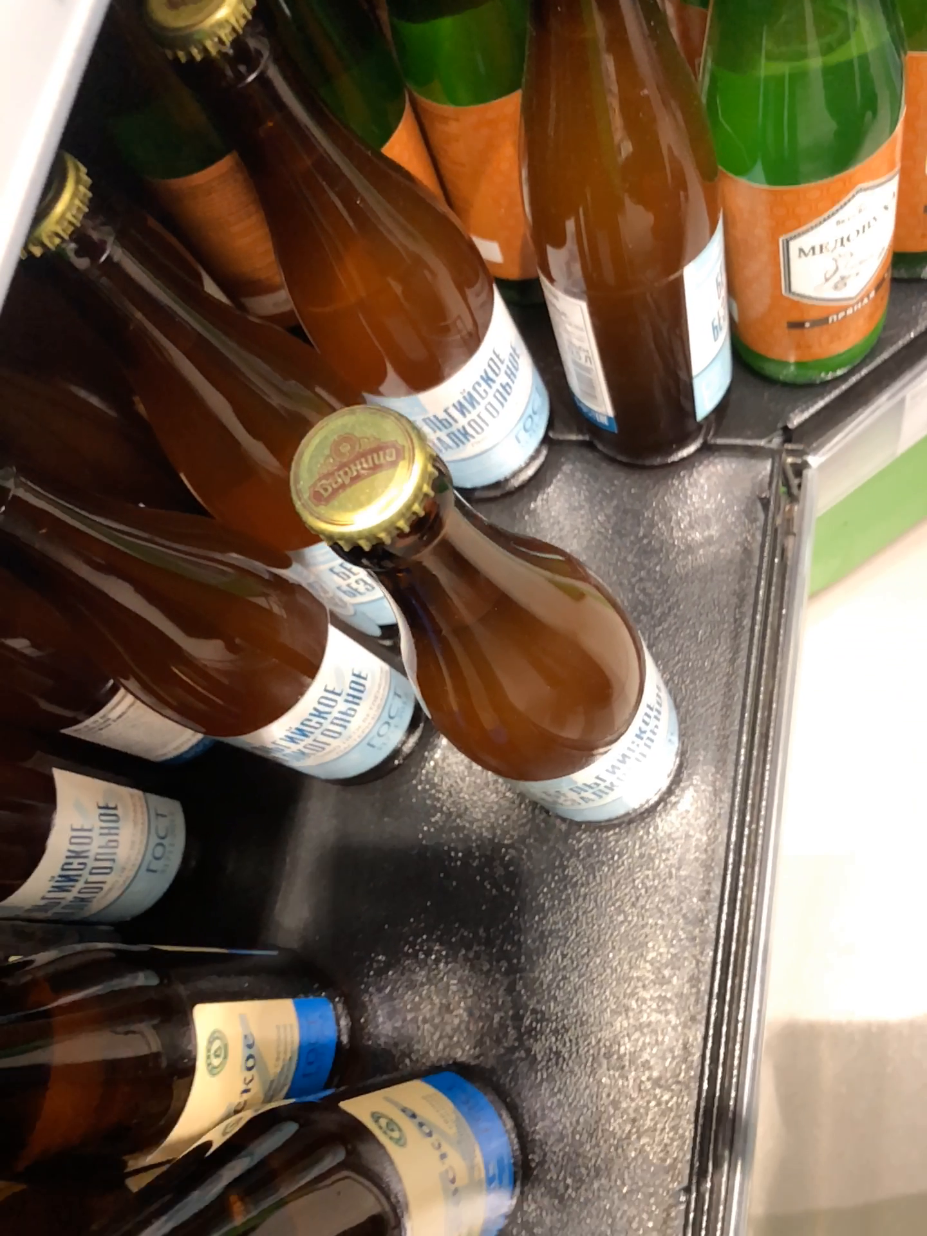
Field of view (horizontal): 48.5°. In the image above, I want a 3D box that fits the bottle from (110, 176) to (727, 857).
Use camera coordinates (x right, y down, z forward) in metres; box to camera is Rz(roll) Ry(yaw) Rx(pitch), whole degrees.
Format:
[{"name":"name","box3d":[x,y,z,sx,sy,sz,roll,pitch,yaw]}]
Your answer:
[{"name":"bottle","box3d":[0.015,0.002,0.313,0.080,0.255,0.080,-6,70,16]}]
